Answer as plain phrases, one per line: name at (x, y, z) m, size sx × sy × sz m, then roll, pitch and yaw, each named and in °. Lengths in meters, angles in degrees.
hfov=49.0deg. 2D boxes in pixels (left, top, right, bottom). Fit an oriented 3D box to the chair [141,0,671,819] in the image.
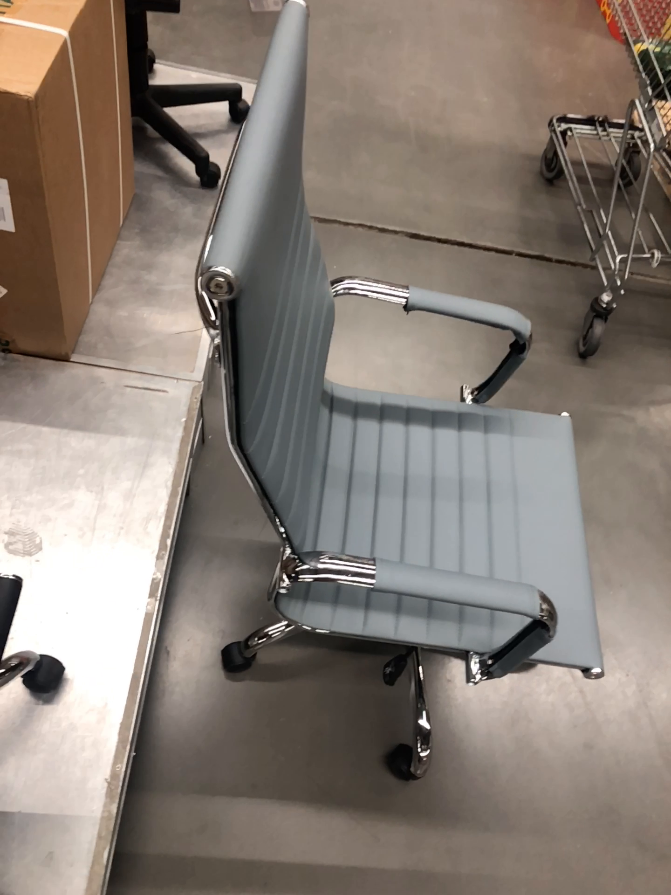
chair at (0.179, 0.055, 1.185) m, size 0.750 × 1.213 × 0.714 m, roll 10°, pitch 54°, yaw -5°
